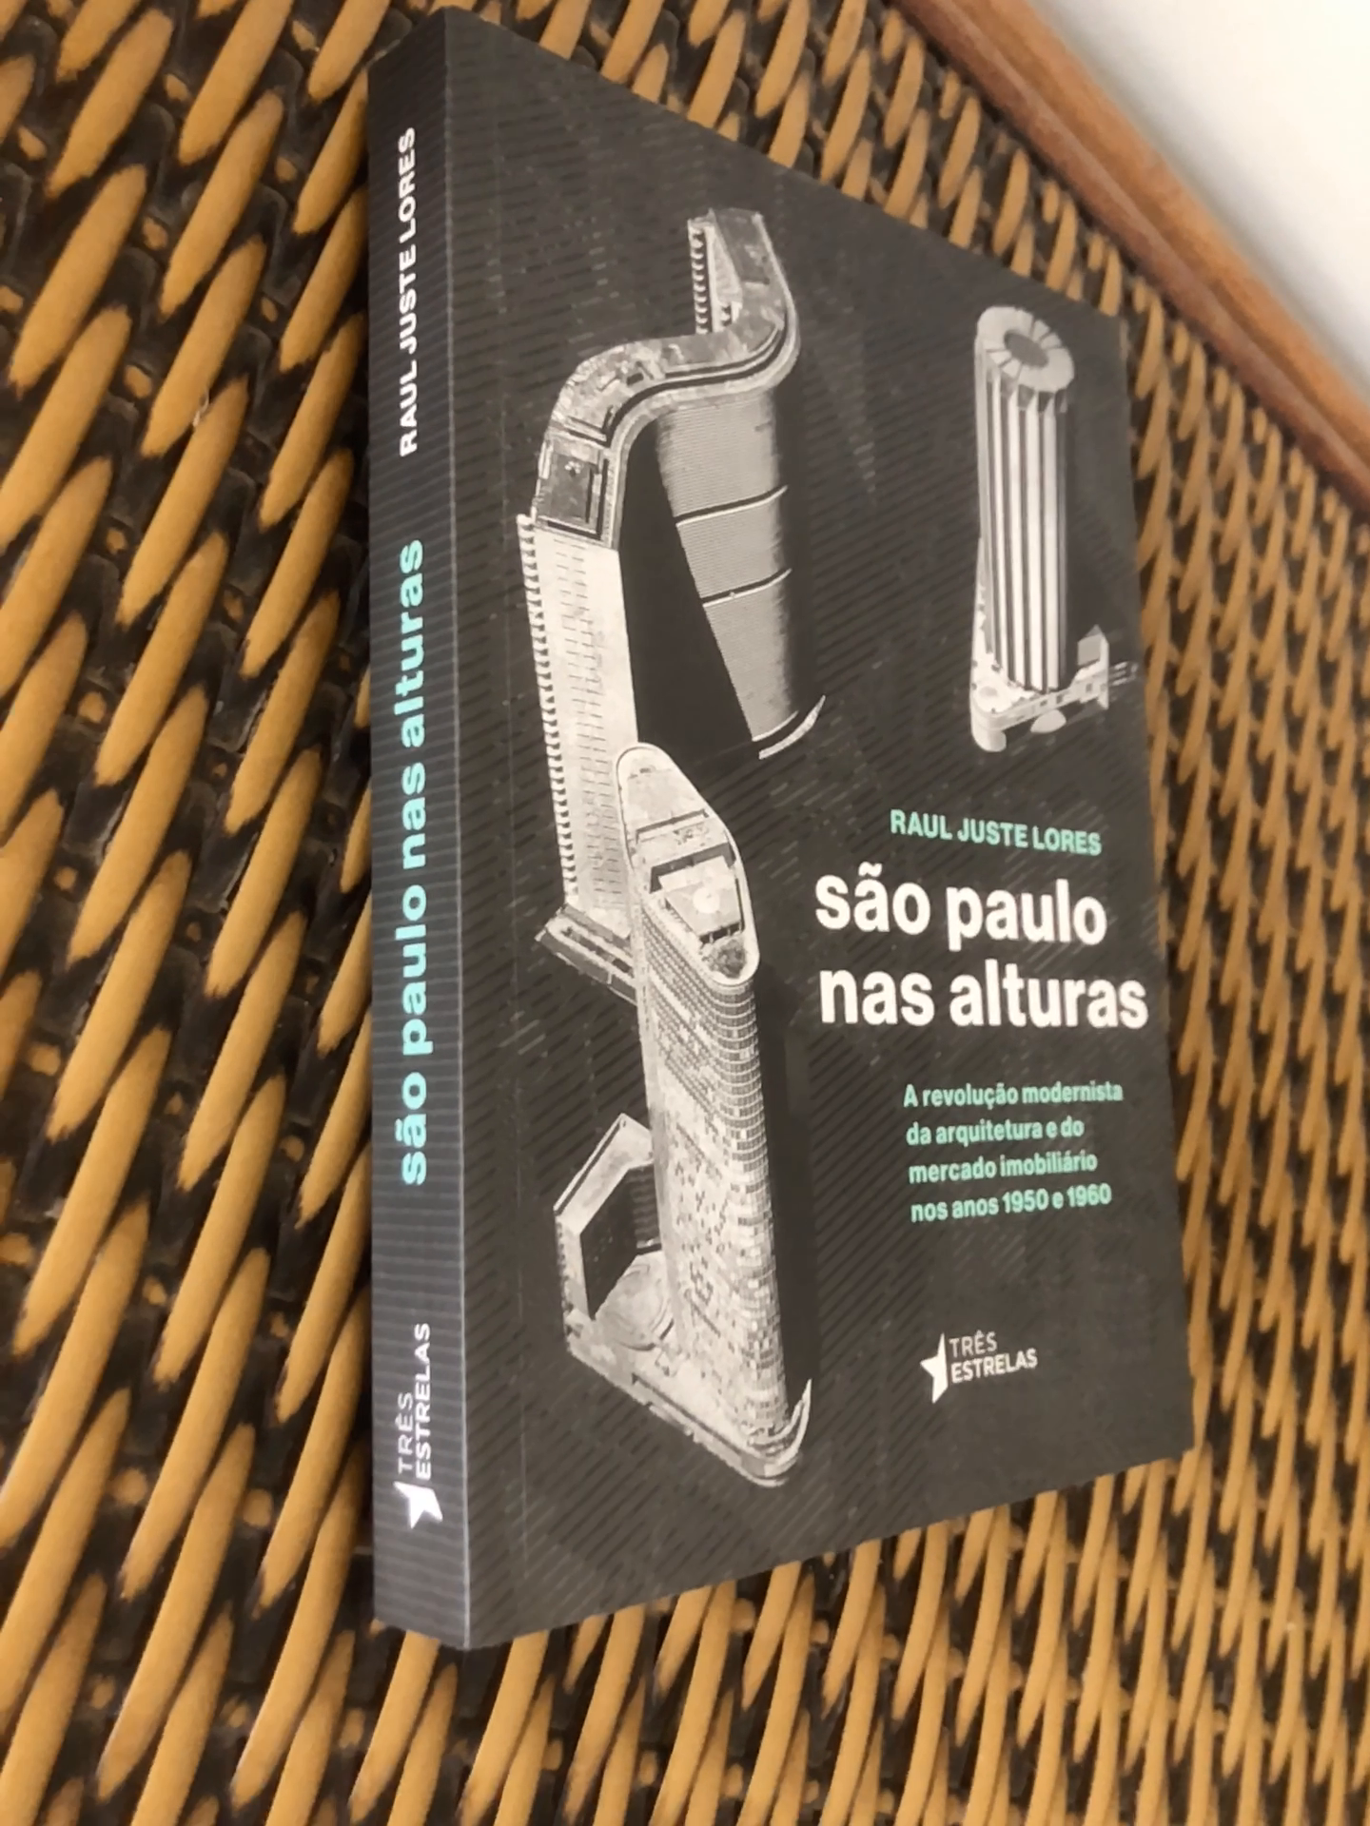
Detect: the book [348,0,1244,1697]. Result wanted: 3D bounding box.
[{"bbox_3d":[0.028,-0.015,0.247,0.161,0.030,0.221,4,83,-38],"label":"book"}]
